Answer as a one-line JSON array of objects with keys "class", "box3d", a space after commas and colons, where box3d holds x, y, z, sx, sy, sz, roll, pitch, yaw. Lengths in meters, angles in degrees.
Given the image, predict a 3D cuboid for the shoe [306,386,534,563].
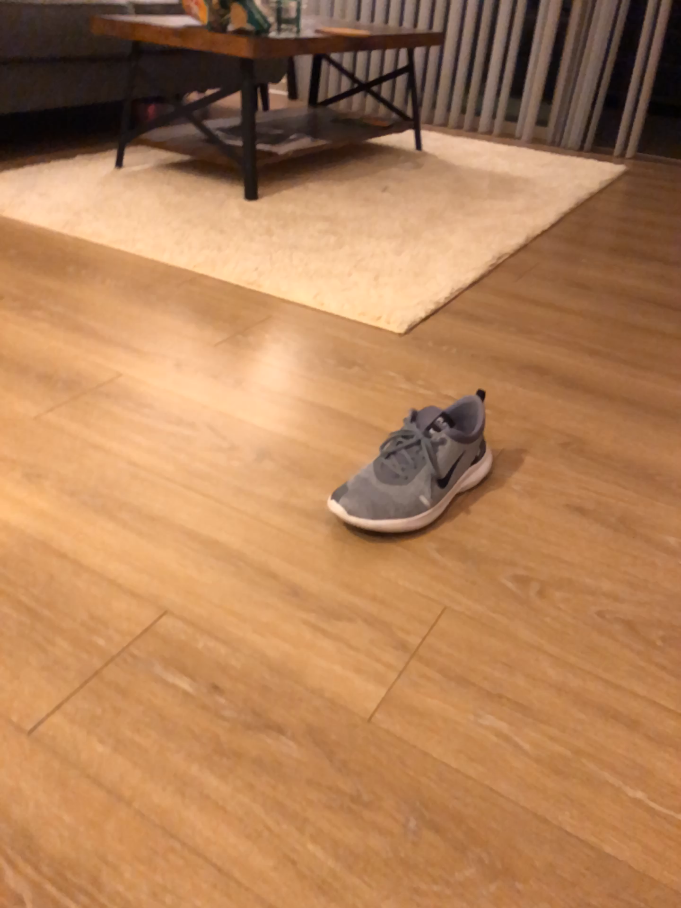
[{"class": "shoe", "box3d": [0.117, 0.014, 1.031, 0.140, 0.080, 0.321, 29, 40, 33]}]
